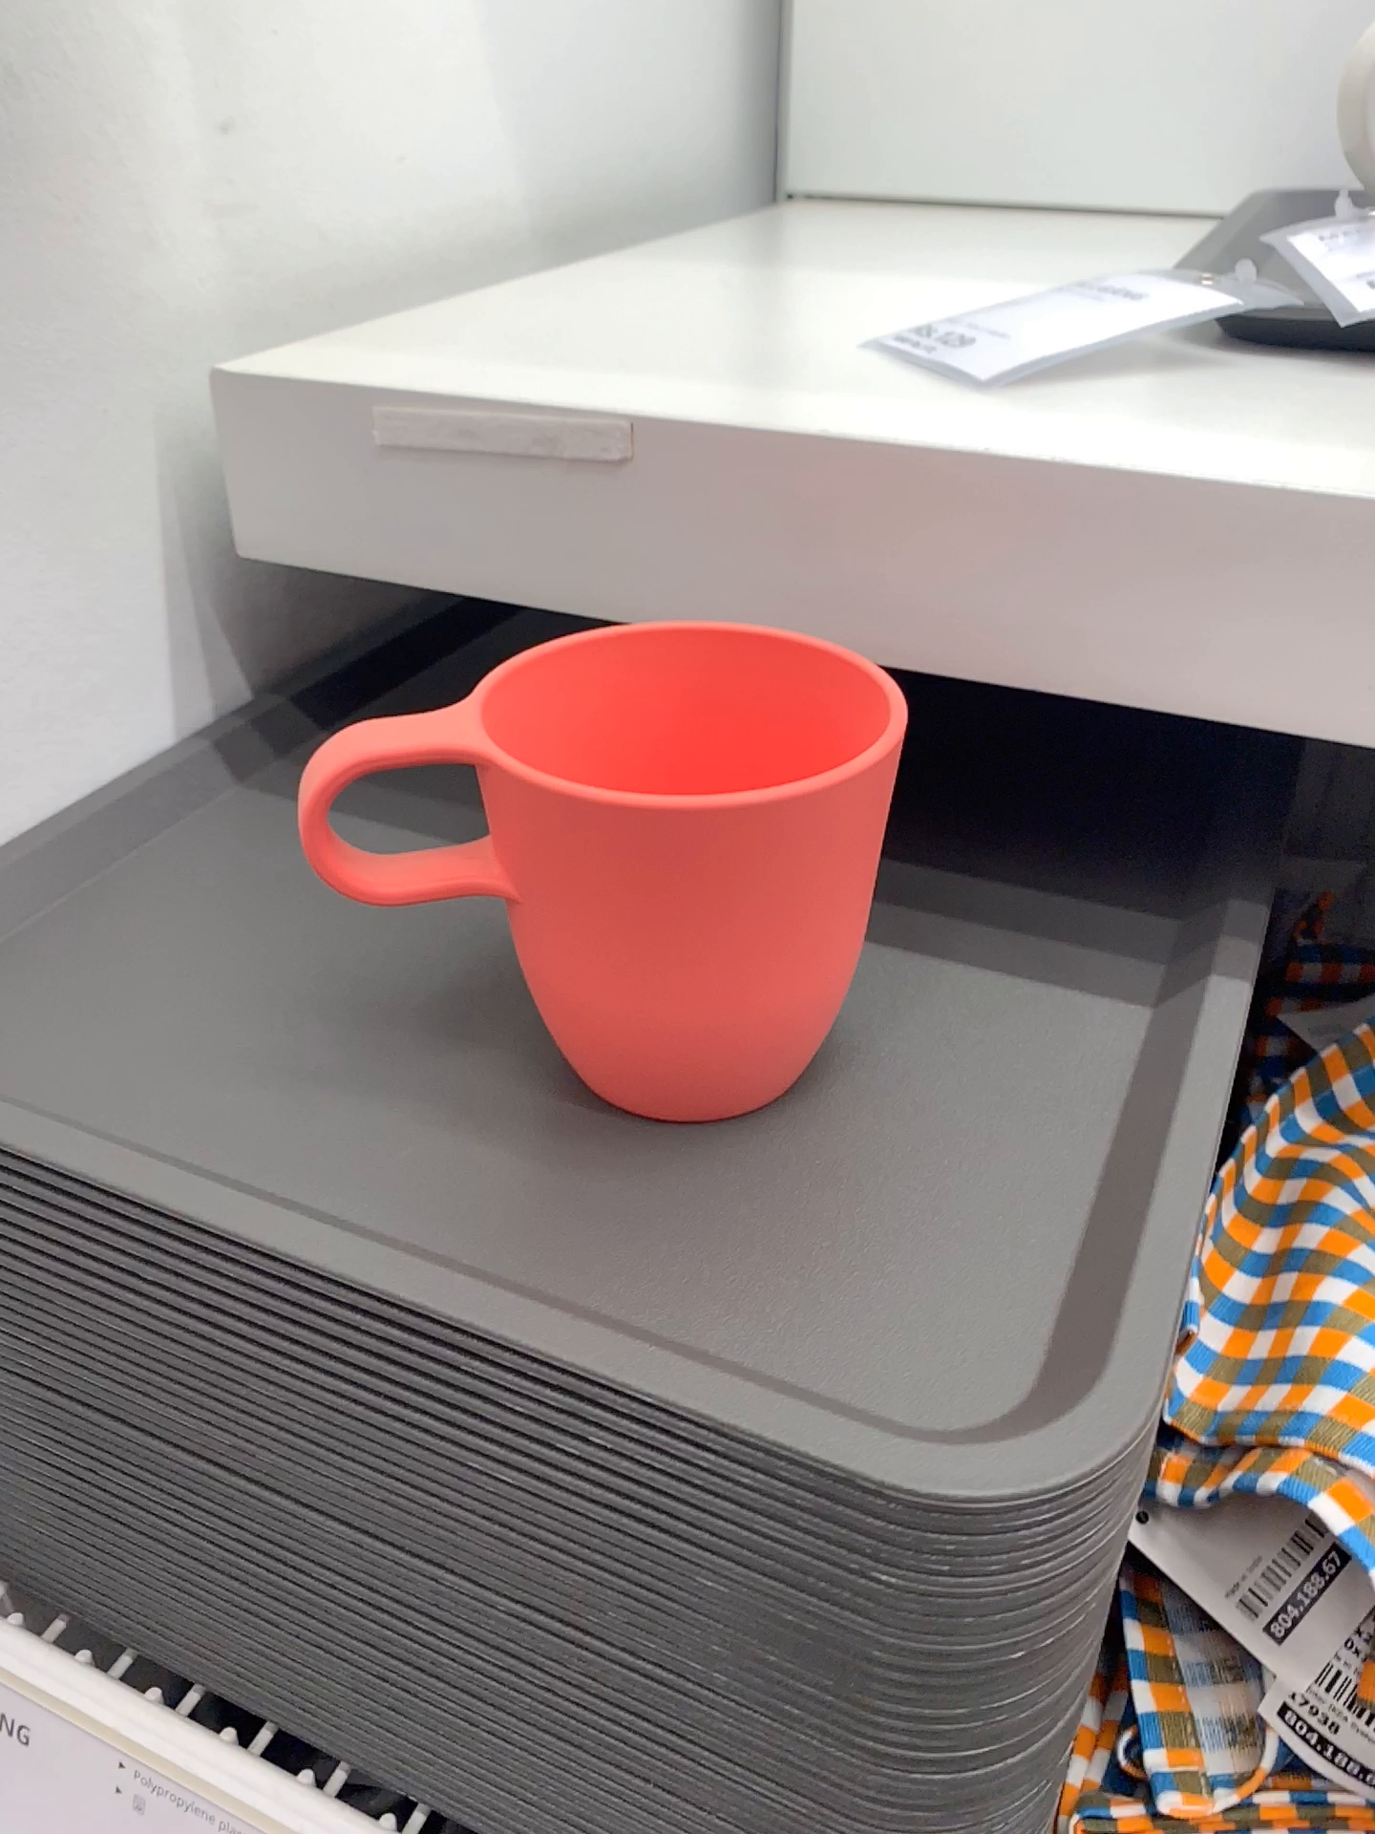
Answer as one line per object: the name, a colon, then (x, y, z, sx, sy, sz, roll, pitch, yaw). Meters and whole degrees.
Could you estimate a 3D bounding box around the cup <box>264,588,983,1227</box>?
cup: (-0.015, -0.007, 0.270, 0.110, 0.080, 0.070, -10, 33, -17)
